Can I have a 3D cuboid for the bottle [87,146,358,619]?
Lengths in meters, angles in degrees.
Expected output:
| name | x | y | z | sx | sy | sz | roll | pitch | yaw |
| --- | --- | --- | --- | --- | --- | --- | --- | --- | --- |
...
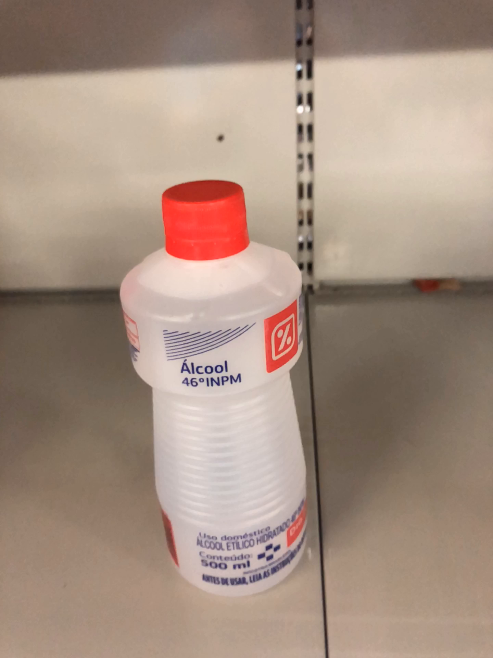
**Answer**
| name | x | y | z | sx | sy | sz | roll | pitch | yaw |
| --- | --- | --- | --- | --- | --- | --- | --- | --- | --- |
| bottle | -0.006 | 0.025 | 0.240 | 0.080 | 0.179 | 0.081 | -4 | 29 | 2 |
